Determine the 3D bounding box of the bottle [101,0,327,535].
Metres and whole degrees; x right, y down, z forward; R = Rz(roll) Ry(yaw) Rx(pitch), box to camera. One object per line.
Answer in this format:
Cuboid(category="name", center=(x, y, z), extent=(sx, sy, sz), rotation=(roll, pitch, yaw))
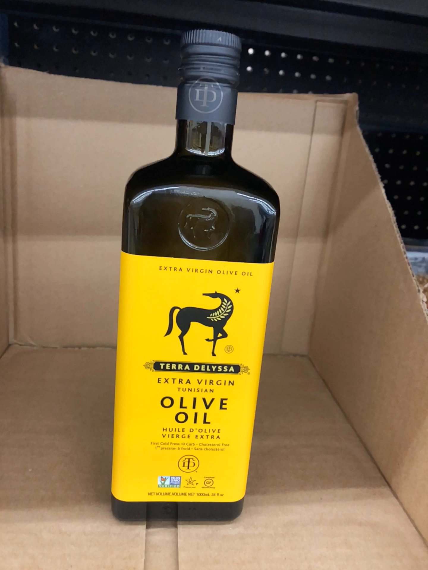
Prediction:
Cuboid(category="bottle", center=(-0.014, -0.001, 0.282), extent=(0.090, 0.288, 0.091), rotation=(5, 19, -2))
